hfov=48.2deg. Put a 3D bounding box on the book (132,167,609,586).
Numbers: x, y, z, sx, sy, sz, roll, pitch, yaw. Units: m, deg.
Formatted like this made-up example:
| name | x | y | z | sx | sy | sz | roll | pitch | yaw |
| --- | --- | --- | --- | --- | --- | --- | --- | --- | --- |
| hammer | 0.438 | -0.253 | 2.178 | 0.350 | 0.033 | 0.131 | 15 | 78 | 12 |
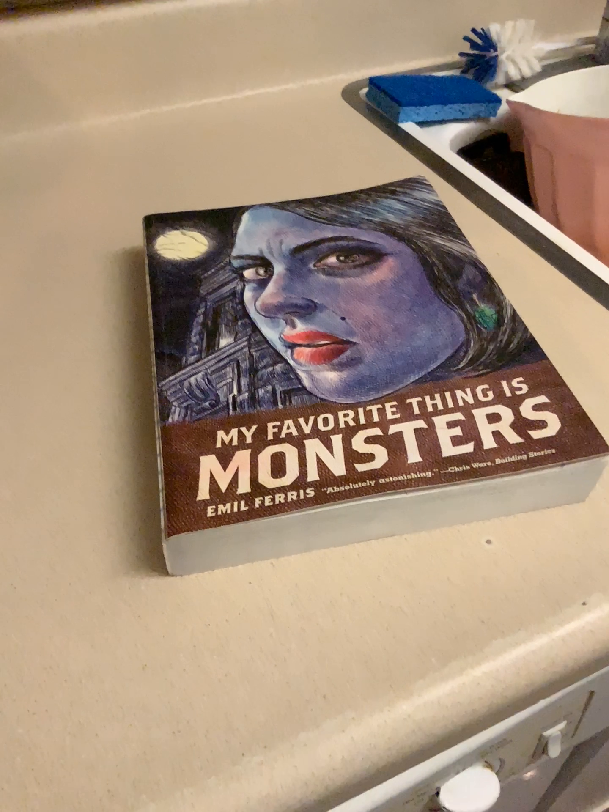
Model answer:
| name | x | y | z | sx | sy | sz | roll | pitch | yaw |
| --- | --- | --- | --- | --- | --- | --- | --- | --- | --- |
| book | 0.013 | -0.046 | 0.385 | 0.200 | 0.040 | 0.270 | -9 | 45 | -8 |
